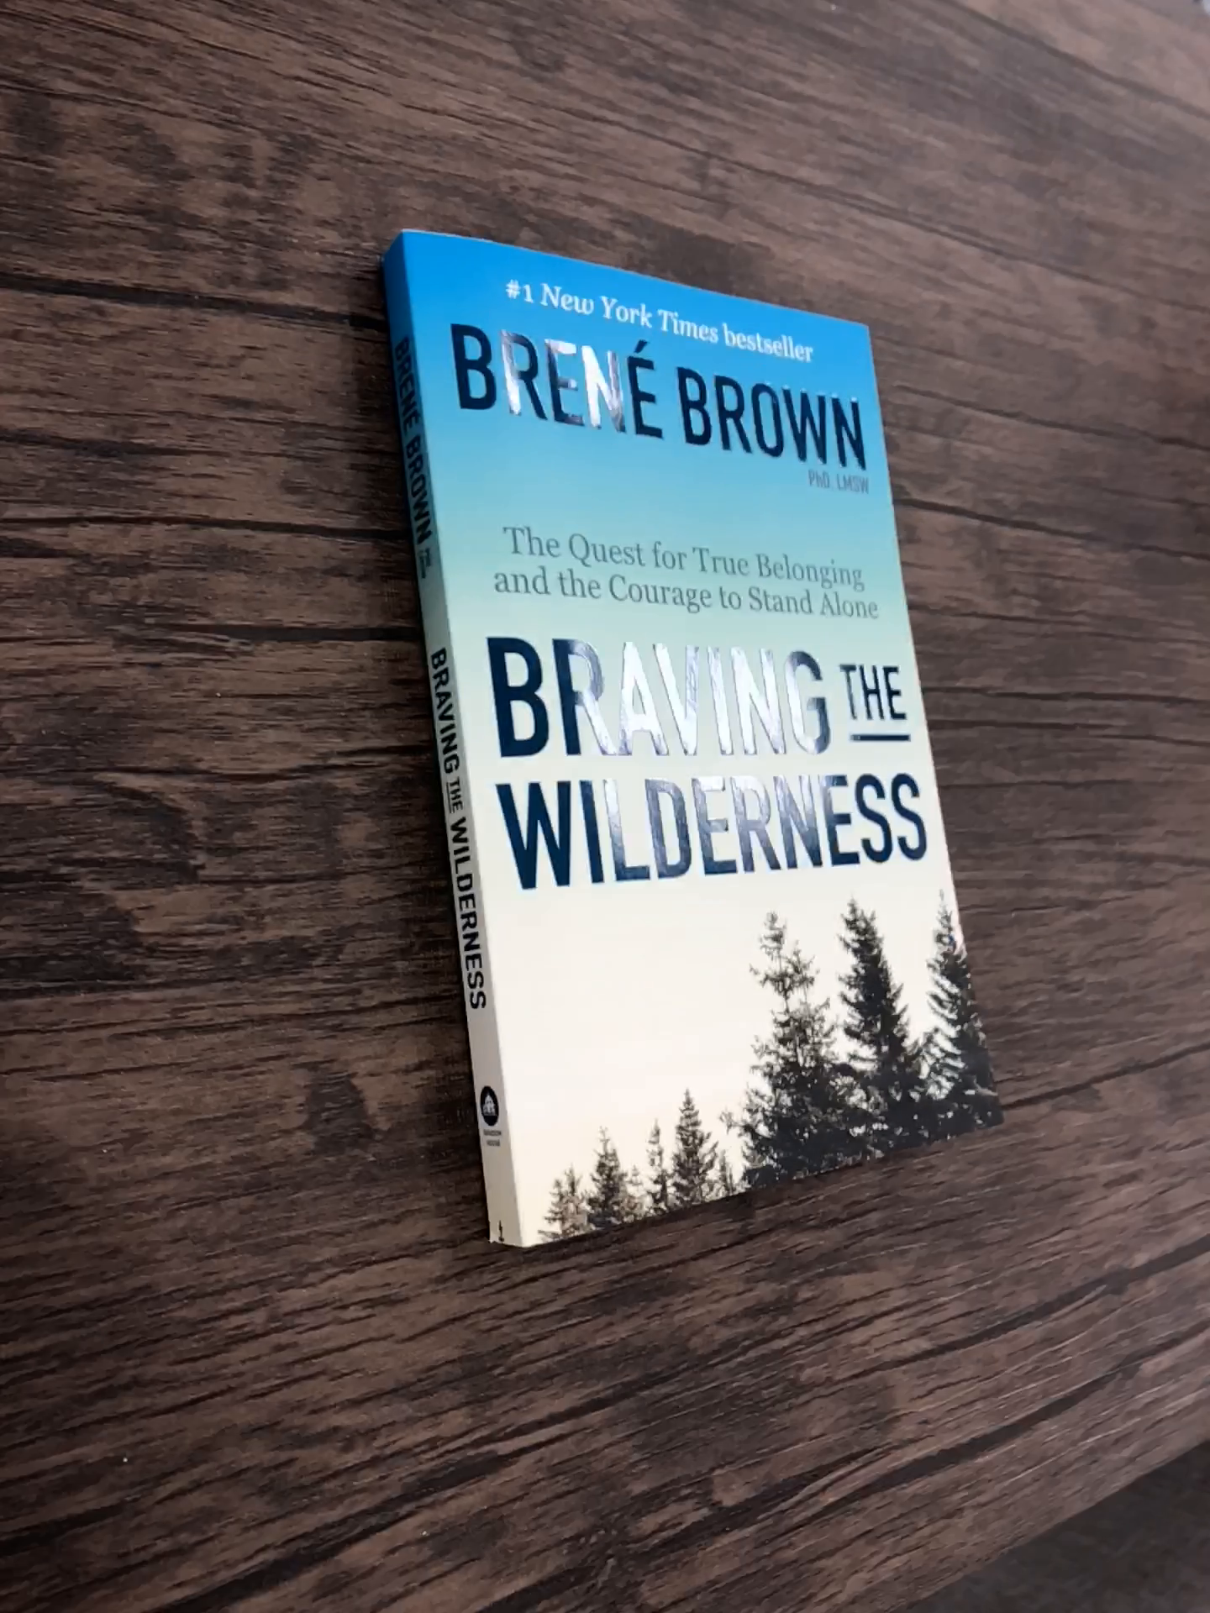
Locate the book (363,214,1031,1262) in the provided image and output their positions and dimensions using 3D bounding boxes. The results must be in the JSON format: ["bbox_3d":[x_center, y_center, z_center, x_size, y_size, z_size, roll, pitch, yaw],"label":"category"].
[{"bbox_3d":[0.024,-0.018,0.286,0.131,0.021,0.191,-3,83,-33],"label":"book"}]
